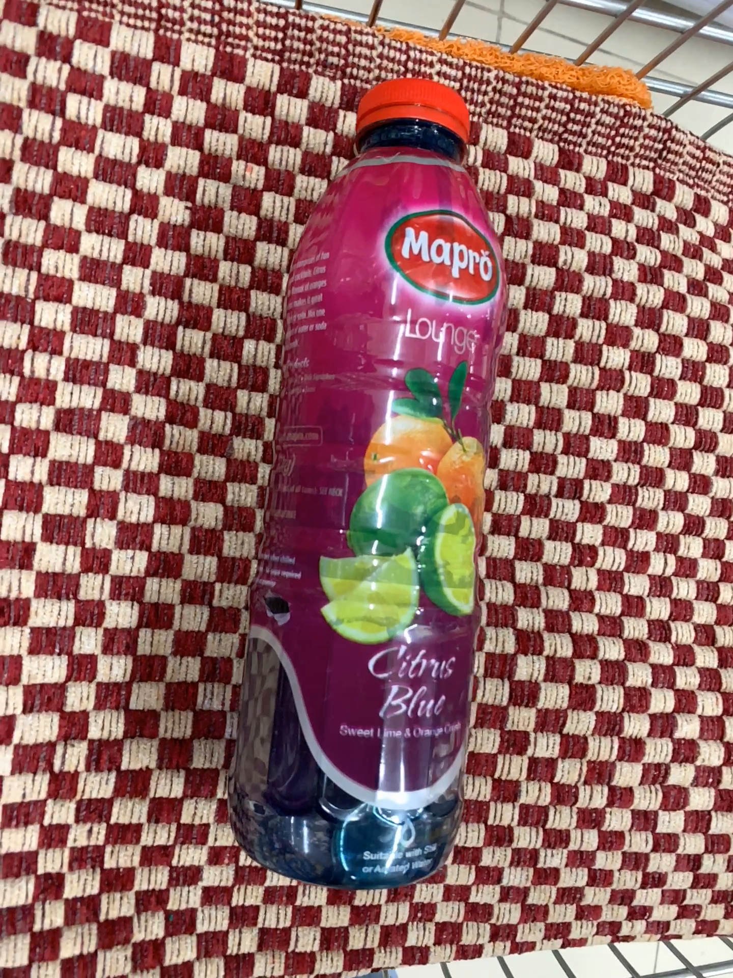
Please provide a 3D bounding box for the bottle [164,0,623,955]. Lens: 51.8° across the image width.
[{"bbox_3d":[0.004,-0.001,0.242,0.090,0.070,0.250,7,92,-27],"label":"bottle"}]
